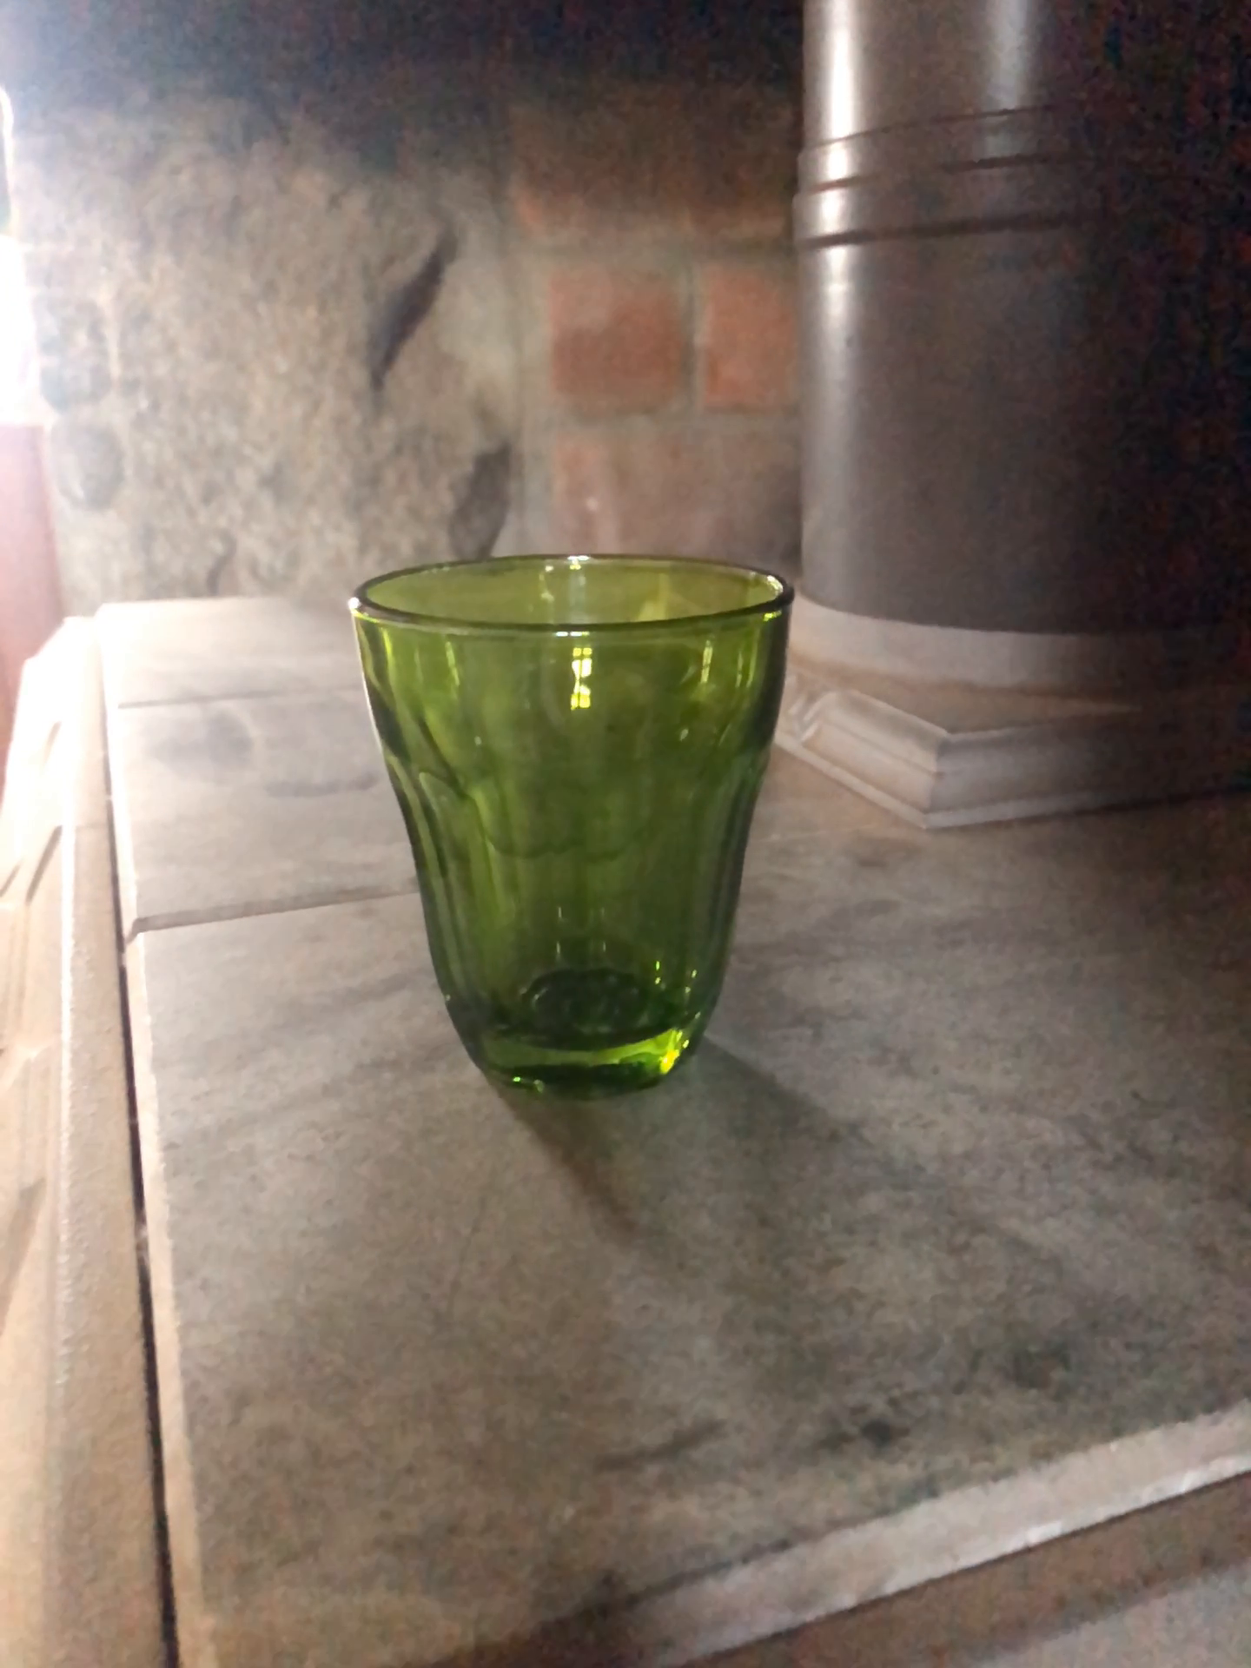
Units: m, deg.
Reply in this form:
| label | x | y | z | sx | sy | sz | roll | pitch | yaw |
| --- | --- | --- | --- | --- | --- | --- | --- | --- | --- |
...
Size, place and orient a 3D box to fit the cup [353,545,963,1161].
| label | x | y | z | sx | sy | sz | roll | pitch | yaw |
| --- | --- | --- | --- | --- | --- | --- | --- | --- | --- |
| cup | 0.001 | -0.005 | 0.250 | 0.080 | 0.080 | 0.080 | -1 | 18 | 0 |
